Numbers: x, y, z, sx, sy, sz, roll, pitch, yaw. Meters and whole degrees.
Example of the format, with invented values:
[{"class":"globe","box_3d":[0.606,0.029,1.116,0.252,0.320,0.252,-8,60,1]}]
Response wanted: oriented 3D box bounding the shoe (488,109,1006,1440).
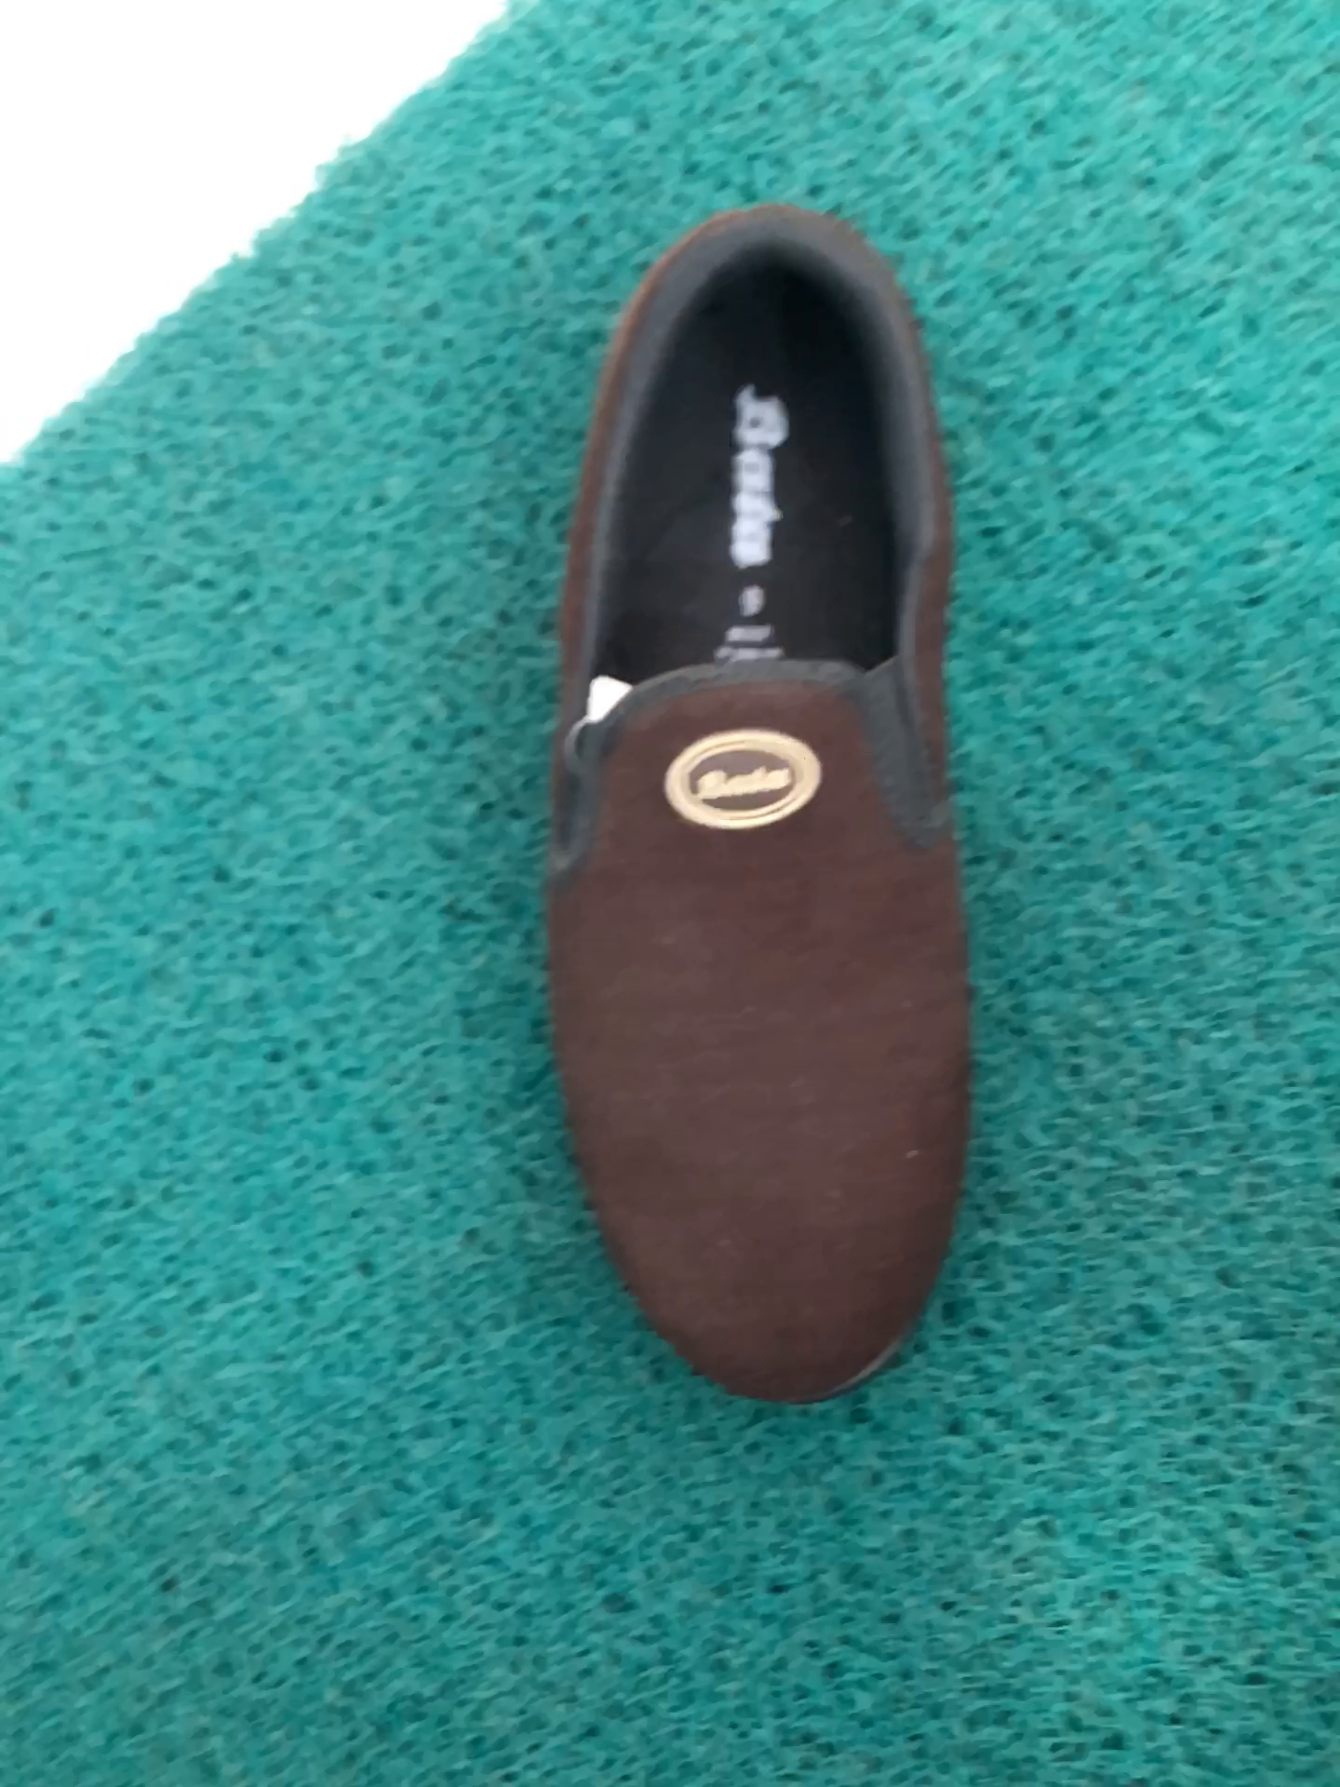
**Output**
[{"class":"shoe","box_3d":[0.023,-0.022,0.350,0.100,0.100,0.260,-2,87,12]}]
